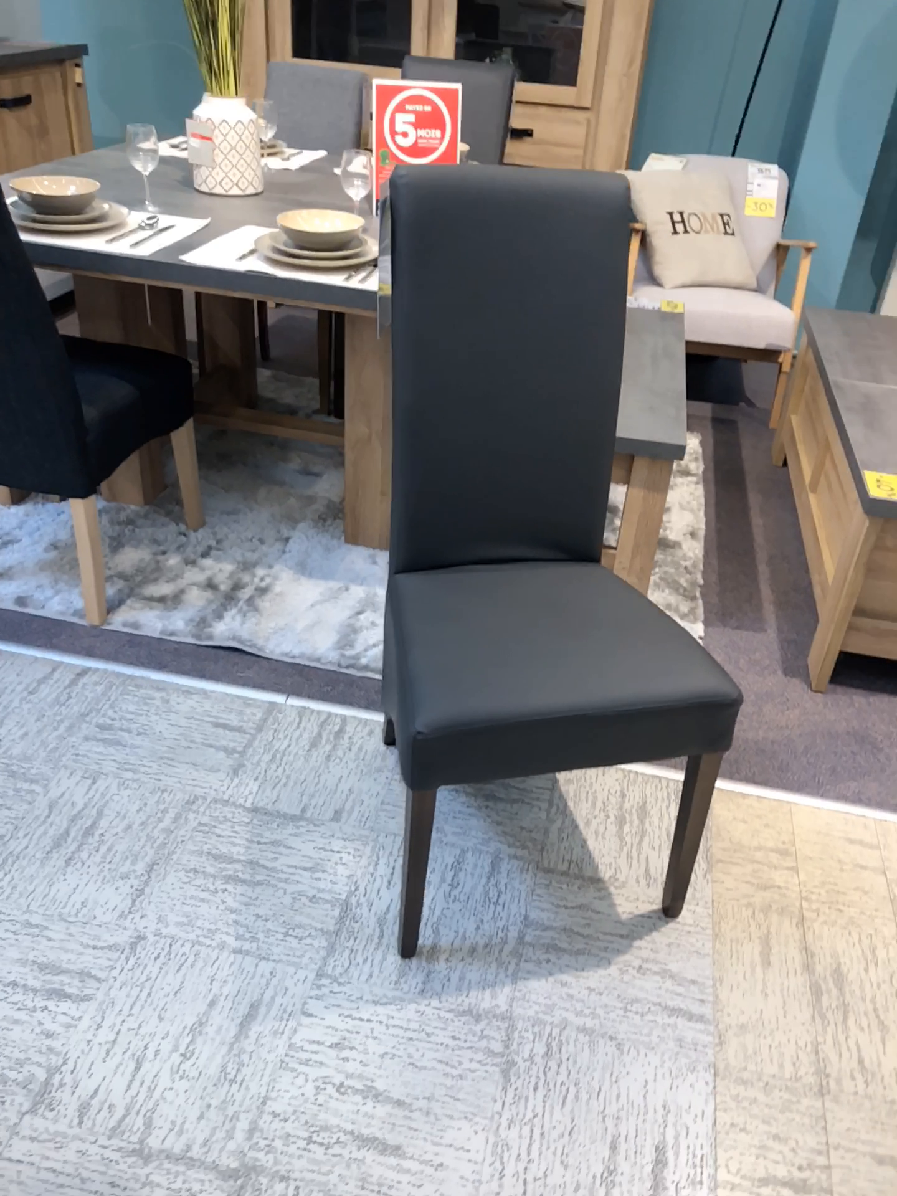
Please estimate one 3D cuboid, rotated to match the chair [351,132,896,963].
[{"bbox_3d":[0.169,-0.075,1.442,0.521,1.013,0.573,-4,33,-14],"label":"chair"}]
